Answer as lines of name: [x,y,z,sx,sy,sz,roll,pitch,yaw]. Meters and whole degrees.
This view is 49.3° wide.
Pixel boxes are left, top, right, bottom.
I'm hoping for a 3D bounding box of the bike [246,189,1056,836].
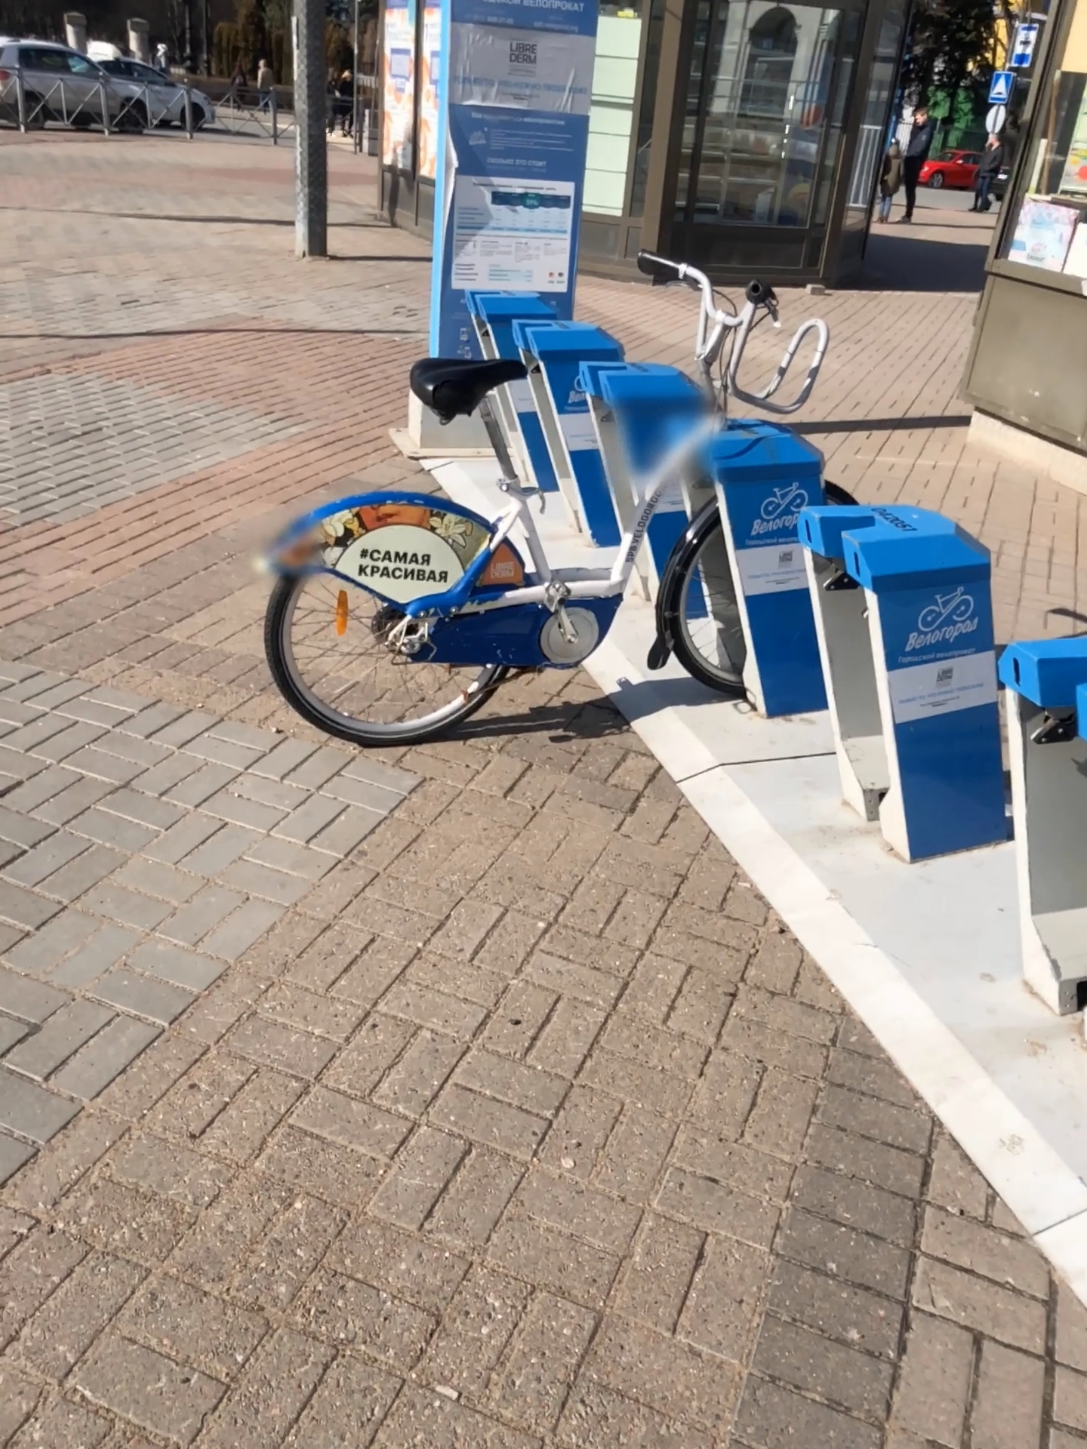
bike: [0.165,-0.561,2.852,1.627,1.204,0.598,-8,30,-16]
